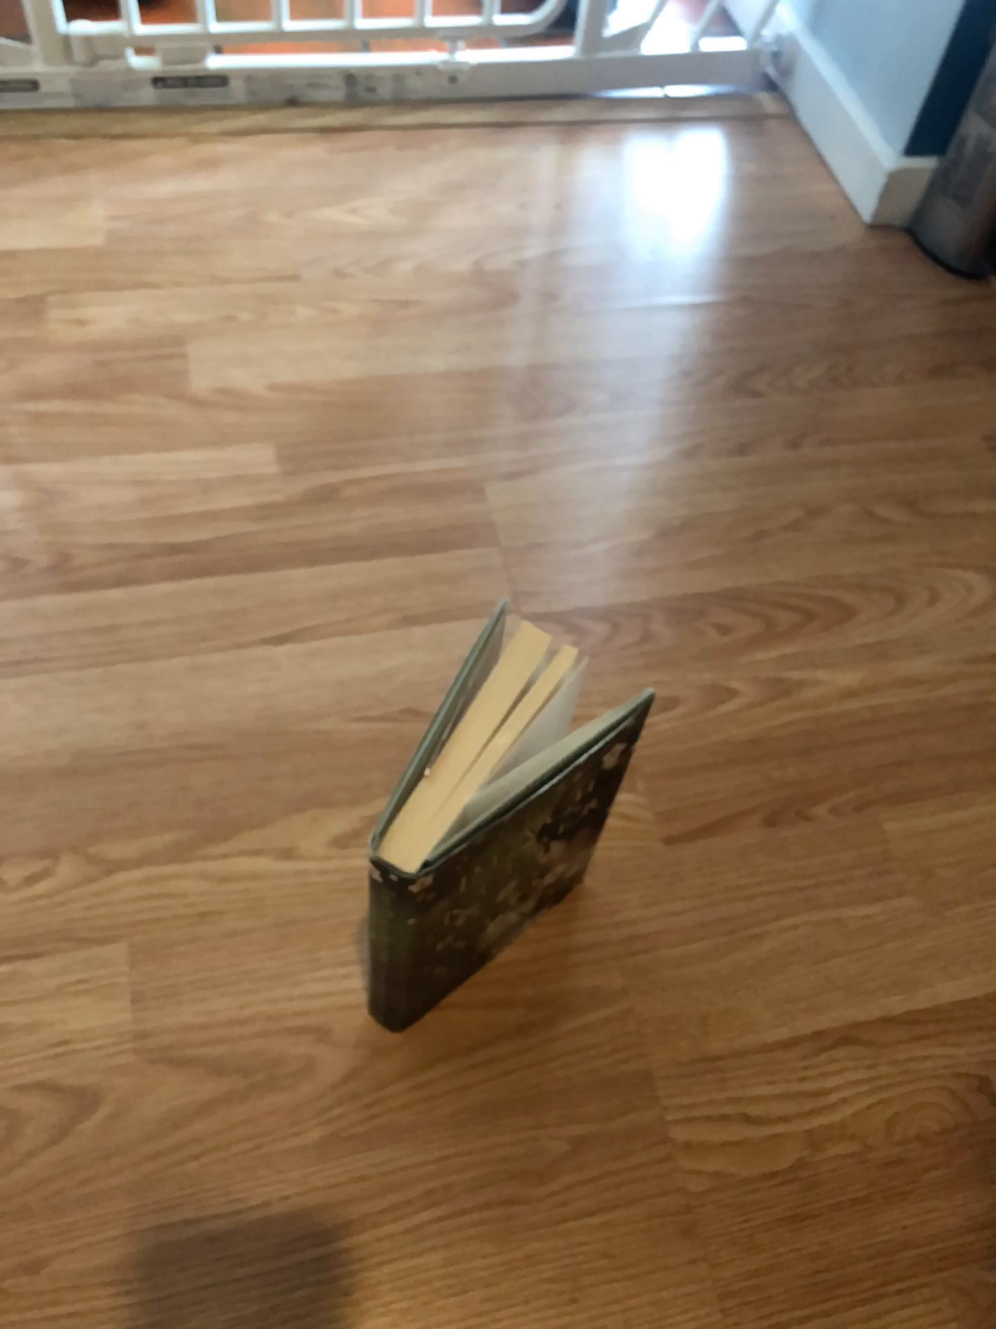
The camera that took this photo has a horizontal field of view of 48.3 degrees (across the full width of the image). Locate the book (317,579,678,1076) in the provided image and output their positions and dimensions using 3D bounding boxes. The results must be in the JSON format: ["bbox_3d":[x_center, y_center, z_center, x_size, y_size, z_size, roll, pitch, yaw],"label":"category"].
[{"bbox_3d":[-0.009,0.091,0.556,0.080,0.220,0.150,34,58,14],"label":"book"}]
